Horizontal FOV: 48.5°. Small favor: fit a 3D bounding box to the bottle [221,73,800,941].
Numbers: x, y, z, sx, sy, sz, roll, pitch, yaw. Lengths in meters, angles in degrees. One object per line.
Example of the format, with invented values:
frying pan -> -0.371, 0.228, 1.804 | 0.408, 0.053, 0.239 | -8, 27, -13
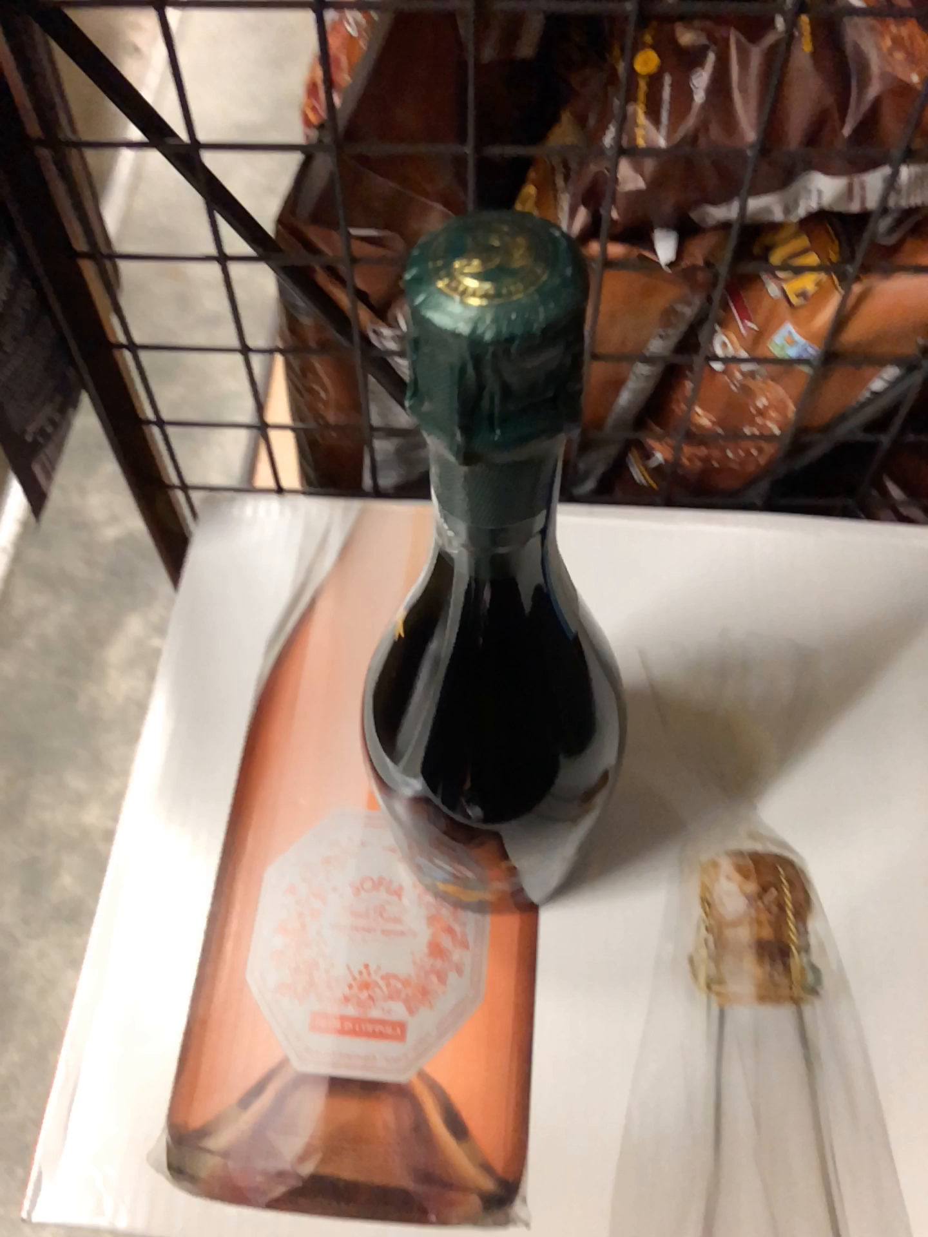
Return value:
bottle -> 0.011, 0.009, 0.311 | 0.090, 0.300, 0.090 | 0, 59, 0
